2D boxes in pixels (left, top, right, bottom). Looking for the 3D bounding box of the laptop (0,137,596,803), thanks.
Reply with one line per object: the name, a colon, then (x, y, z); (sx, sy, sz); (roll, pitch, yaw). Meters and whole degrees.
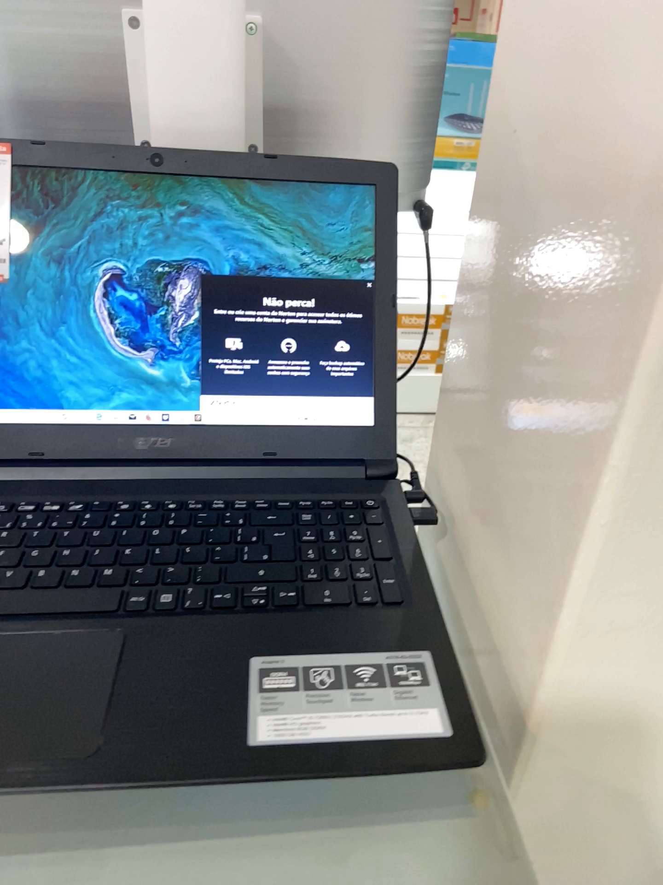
laptop: (-0.122, -0.038, 0.409); (0.369, 0.205, 0.377); (0, 30, -6)
